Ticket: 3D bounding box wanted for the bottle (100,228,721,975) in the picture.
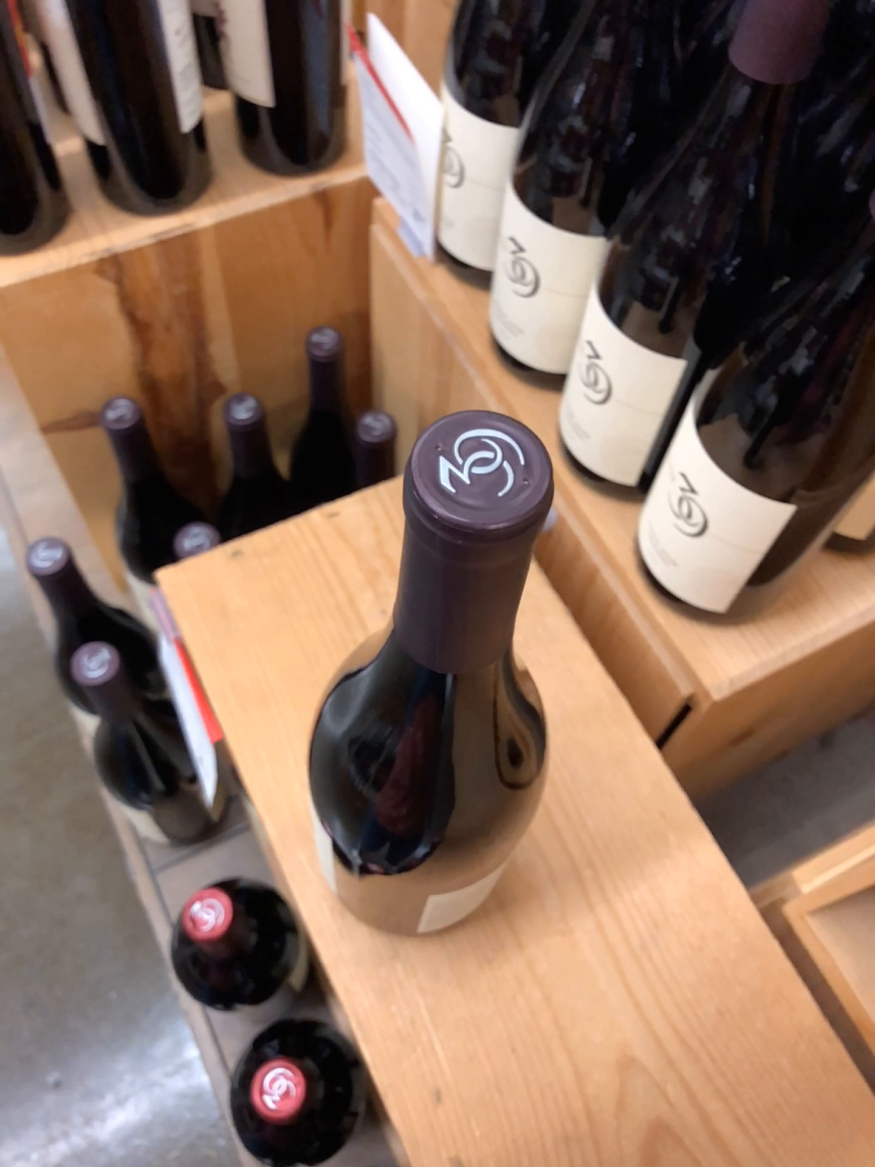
[{"bbox_3d":[-0.008,0.044,0.294,0.080,0.284,0.080,1,62,-3],"label":"bottle"}]
